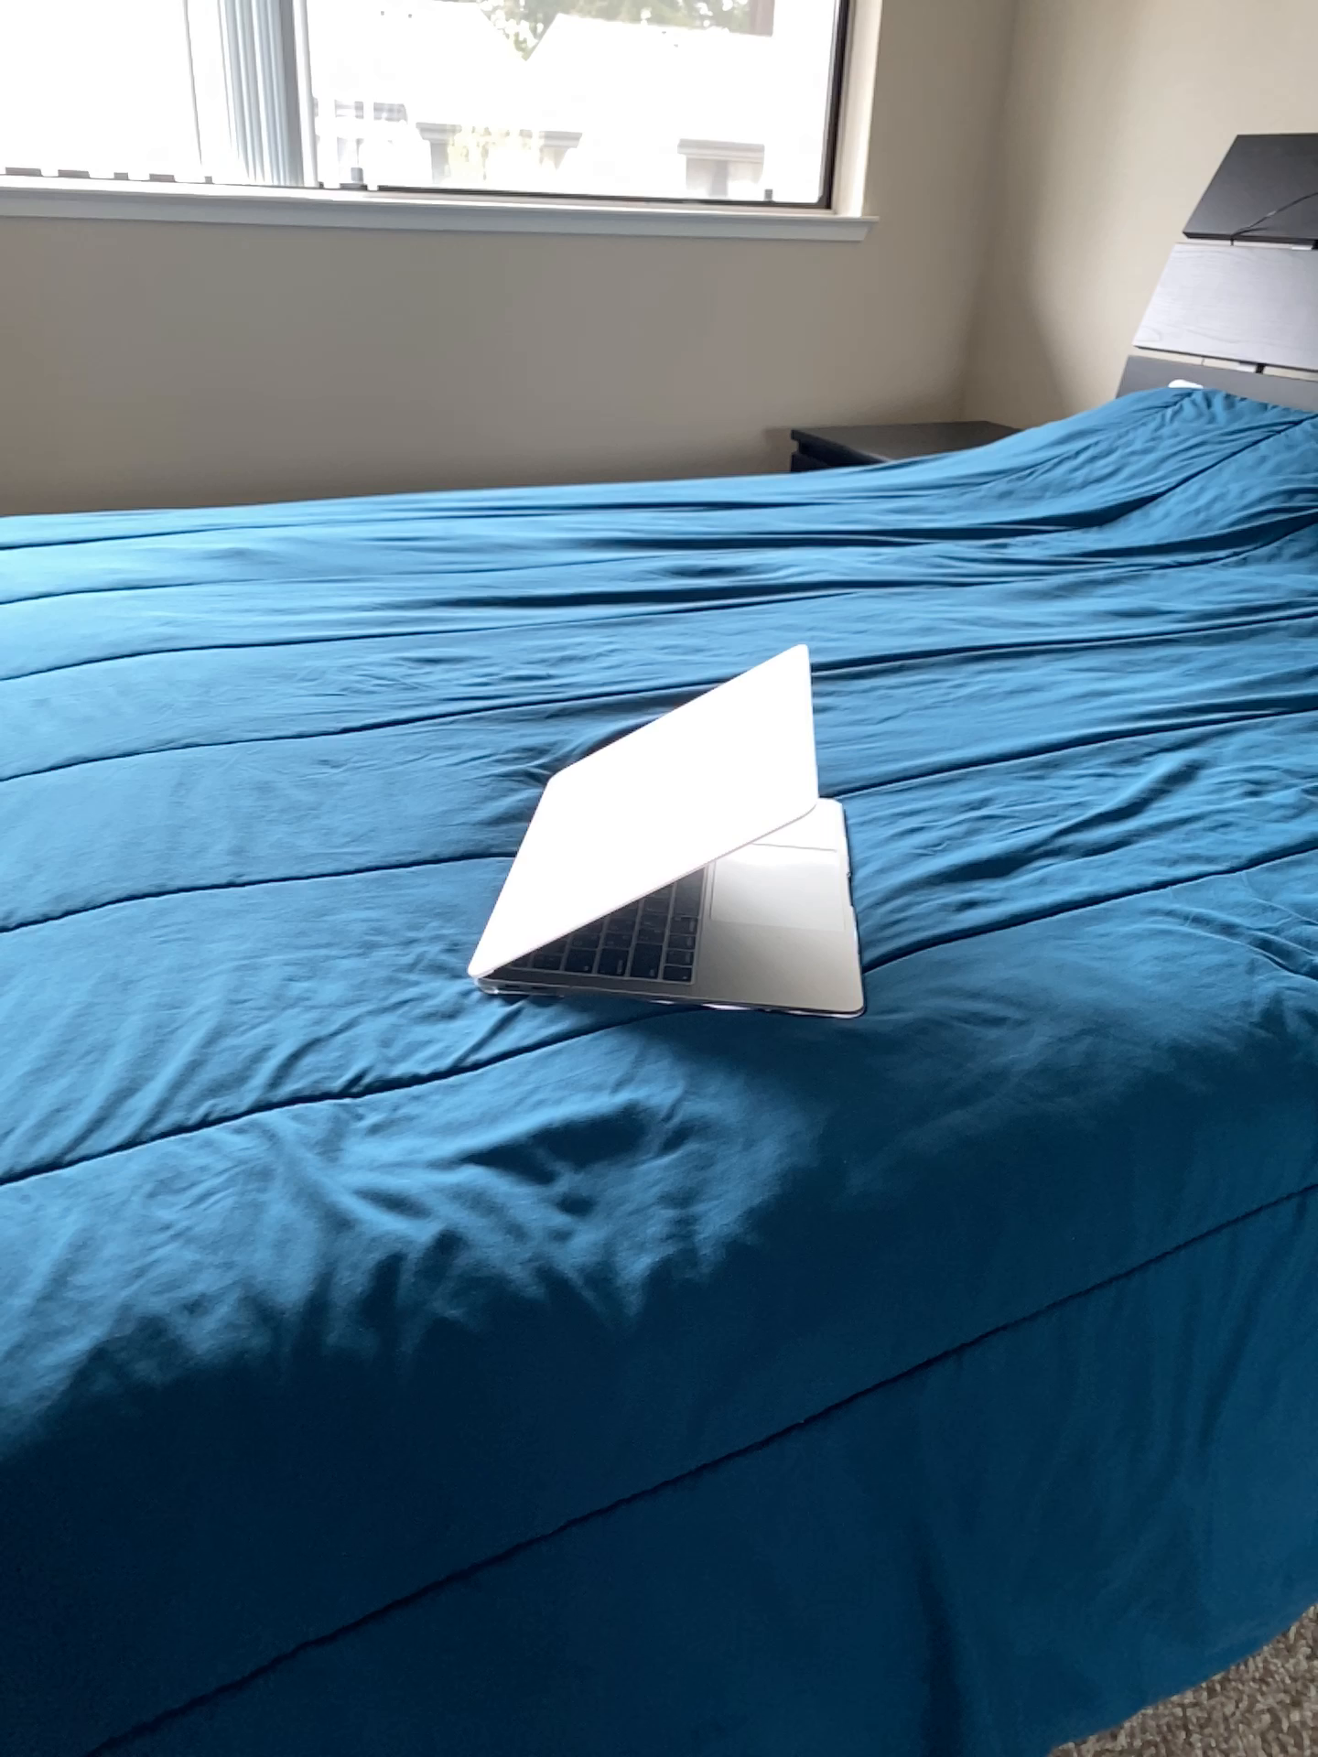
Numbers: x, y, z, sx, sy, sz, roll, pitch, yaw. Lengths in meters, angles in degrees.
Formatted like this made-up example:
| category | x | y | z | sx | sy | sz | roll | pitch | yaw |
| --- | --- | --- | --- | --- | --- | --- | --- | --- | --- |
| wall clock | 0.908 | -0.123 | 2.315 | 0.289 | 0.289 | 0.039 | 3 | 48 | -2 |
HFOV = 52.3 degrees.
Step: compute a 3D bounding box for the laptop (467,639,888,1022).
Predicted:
| category | x | y | z | sx | sy | sz | roll | pitch | yaw |
| --- | --- | --- | --- | --- | --- | --- | --- | --- | --- |
| laptop | 0.022 | -0.048 | 0.854 | 0.218 | 0.106 | 0.312 | 6 | 26 | 3 |
